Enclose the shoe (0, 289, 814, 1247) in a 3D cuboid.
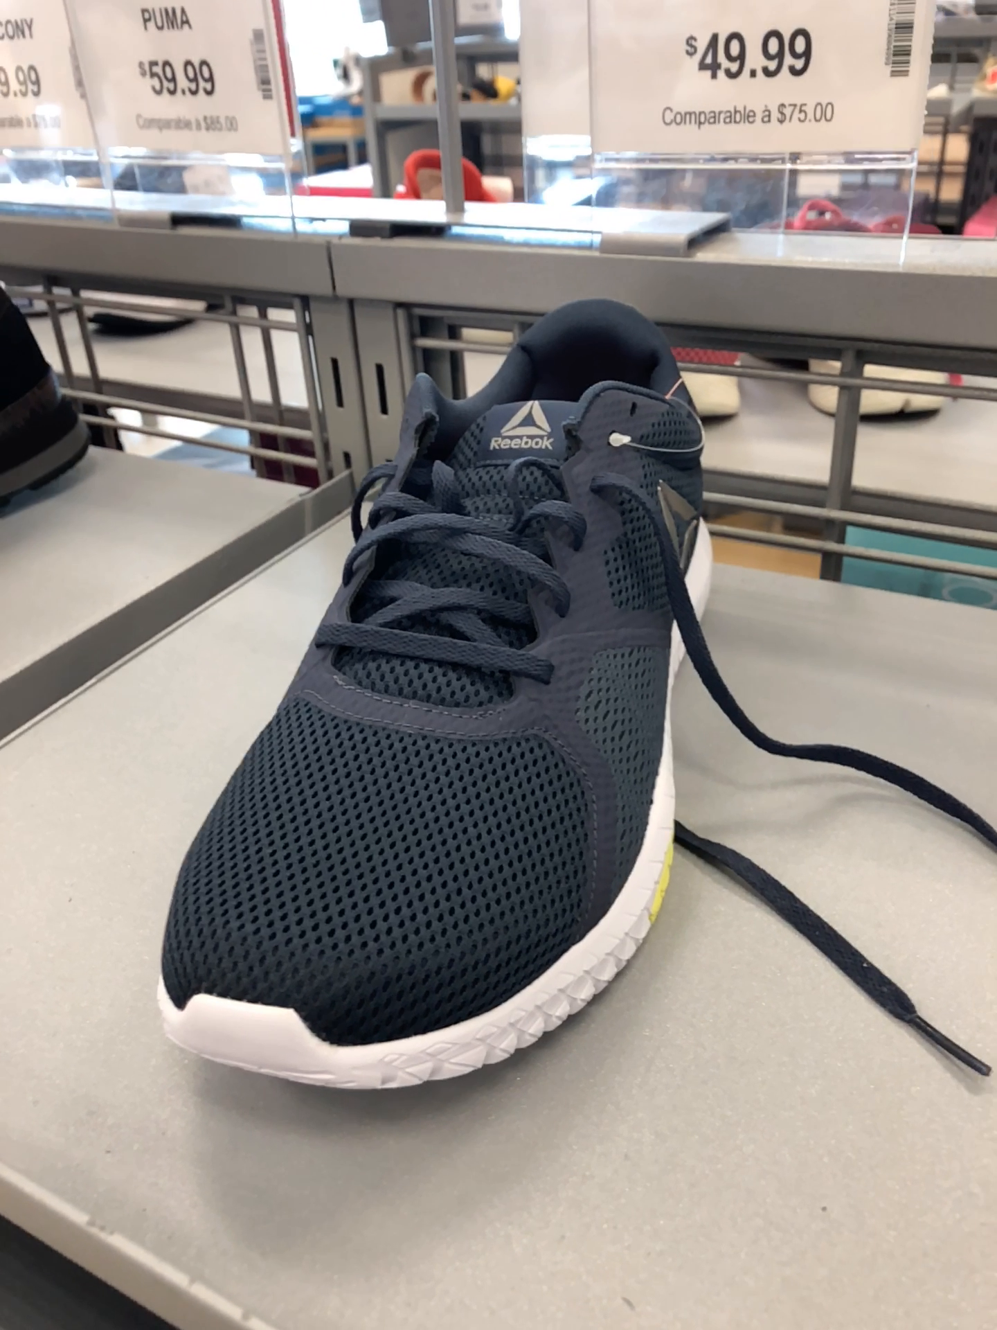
[{"bbox_3d":[0.010,-0.021,0.338,0.120,0.109,0.322,8,32,19],"label":"shoe"}]
